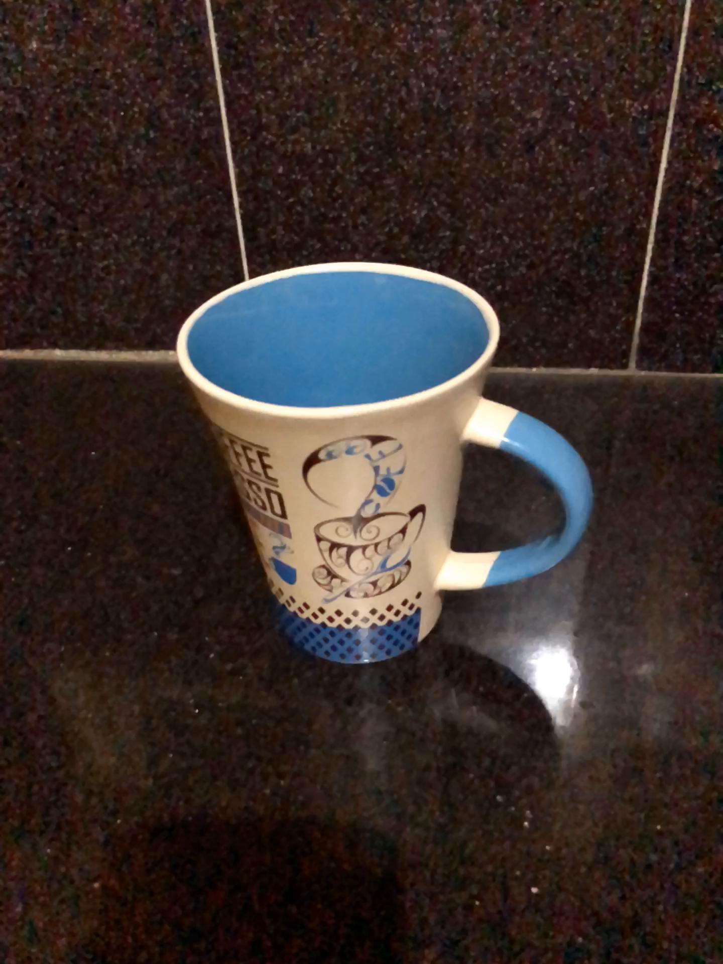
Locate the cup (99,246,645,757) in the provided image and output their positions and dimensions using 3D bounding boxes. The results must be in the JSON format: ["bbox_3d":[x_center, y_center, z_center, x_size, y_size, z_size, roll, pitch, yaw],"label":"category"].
[{"bbox_3d":[0.010,0.000,0.256,0.130,0.109,0.091,10,39,17],"label":"cup"}]
